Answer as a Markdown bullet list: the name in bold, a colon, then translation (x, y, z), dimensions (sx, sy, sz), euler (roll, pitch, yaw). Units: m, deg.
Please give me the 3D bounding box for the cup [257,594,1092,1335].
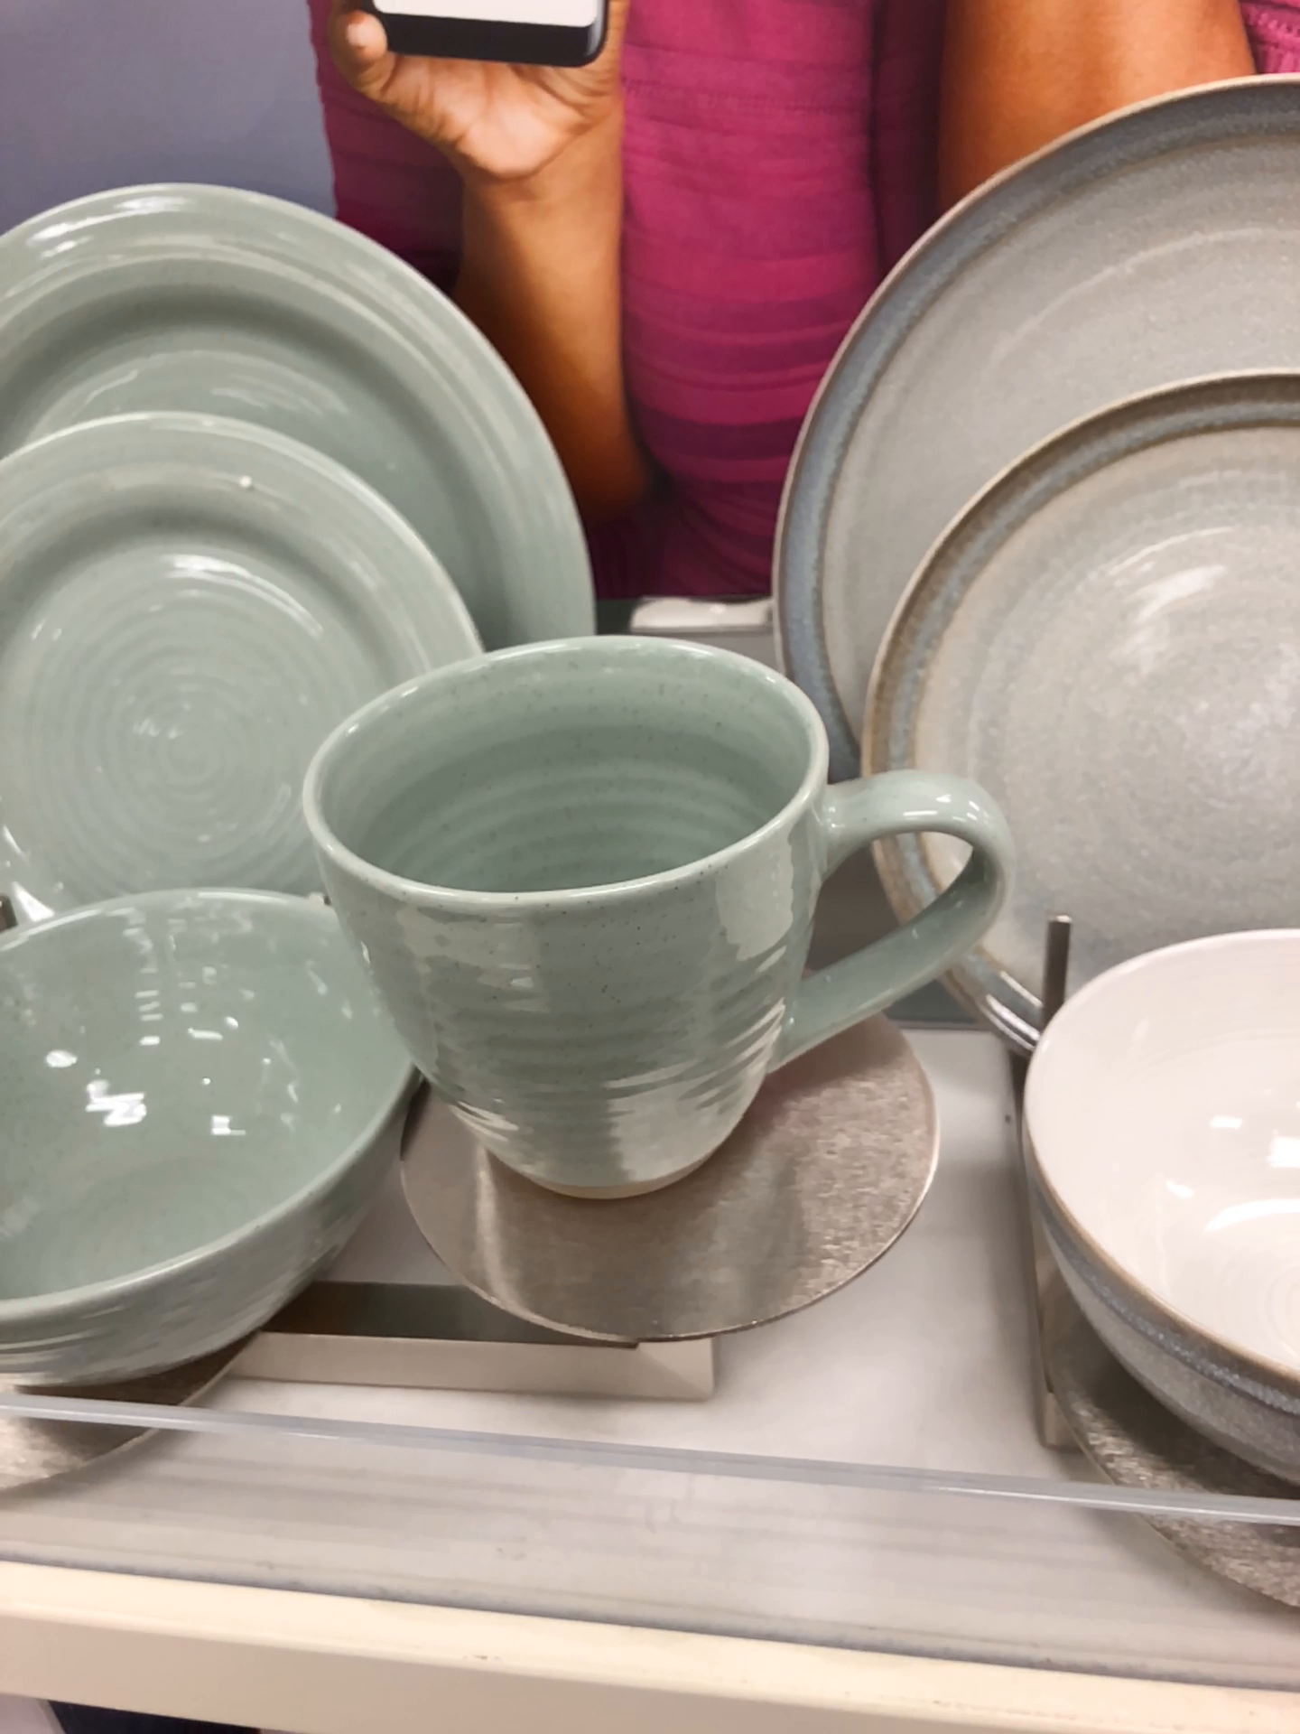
- **cup**: translation (0.005, 0.014, 0.298), dimensions (0.129, 0.091, 0.116), euler (-4, 33, 1)
